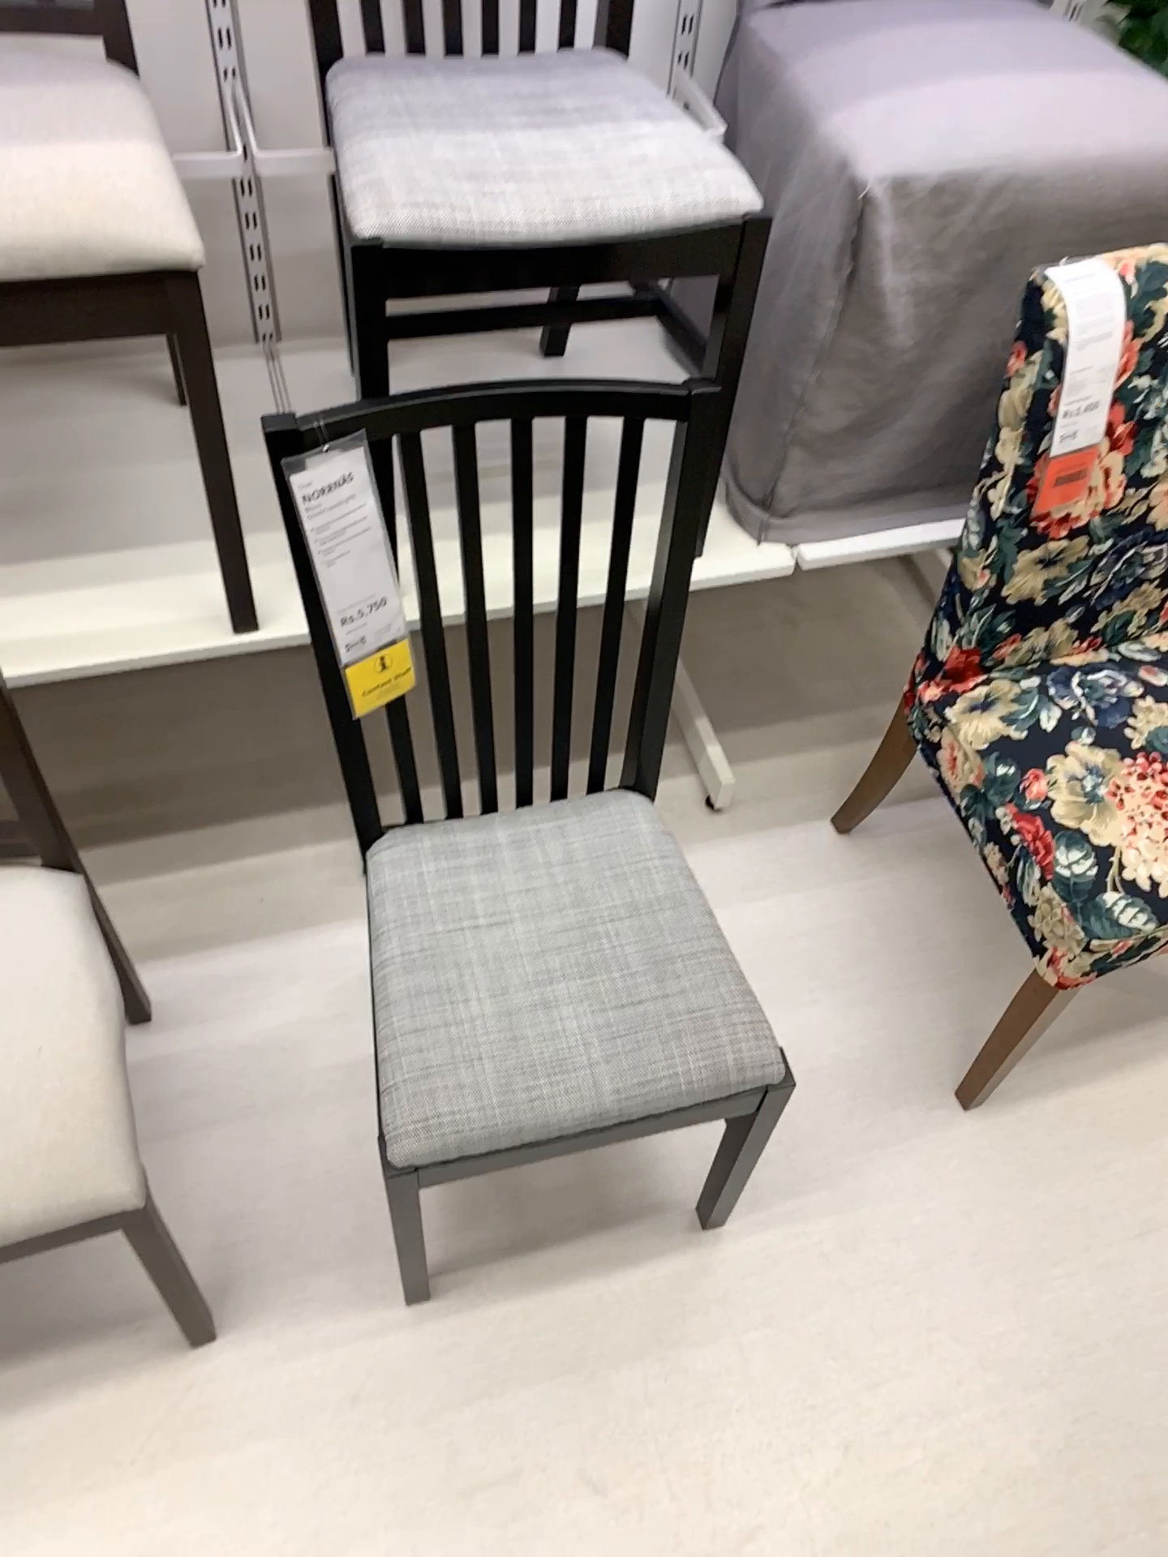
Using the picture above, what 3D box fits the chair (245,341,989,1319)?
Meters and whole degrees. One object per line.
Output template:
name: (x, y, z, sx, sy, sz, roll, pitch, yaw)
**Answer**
chair: (-0.045, 0.112, 1.258, 0.440, 0.897, 0.552, -9, 53, -12)
